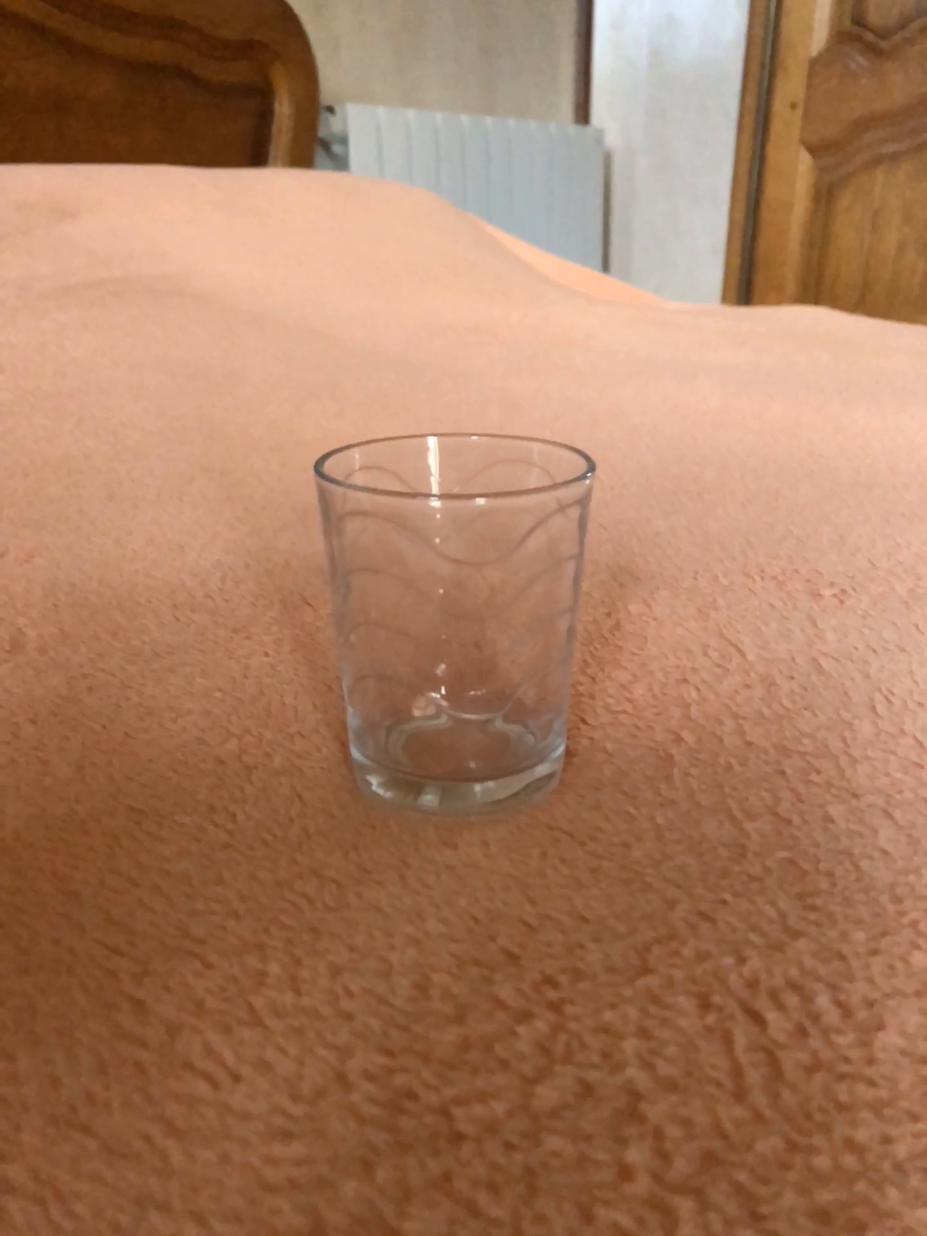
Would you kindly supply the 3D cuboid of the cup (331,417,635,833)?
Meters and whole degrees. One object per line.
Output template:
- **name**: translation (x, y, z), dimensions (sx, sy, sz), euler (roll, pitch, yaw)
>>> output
- **cup**: translation (0.002, -0.002, 0.243), dimensions (0.060, 0.080, 0.060), euler (0, 21, 0)
